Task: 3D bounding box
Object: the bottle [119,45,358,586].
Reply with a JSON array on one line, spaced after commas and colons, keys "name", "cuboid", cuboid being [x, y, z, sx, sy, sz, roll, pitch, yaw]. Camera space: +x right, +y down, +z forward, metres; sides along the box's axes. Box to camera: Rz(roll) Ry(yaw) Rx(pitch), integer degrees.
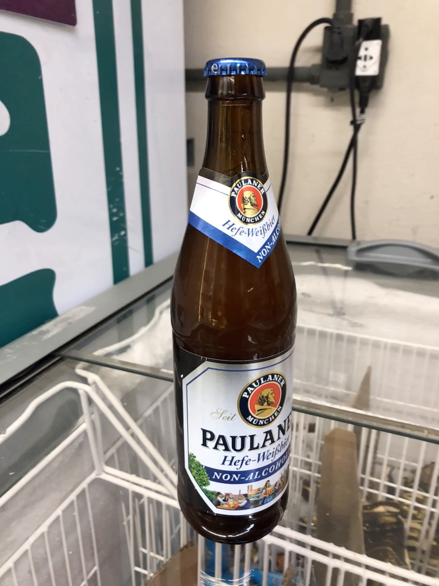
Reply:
[{"name": "bottle", "cuboid": [0.004, 0.017, 0.252, 0.080, 0.248, 0.070, -8, 21, -22]}]
